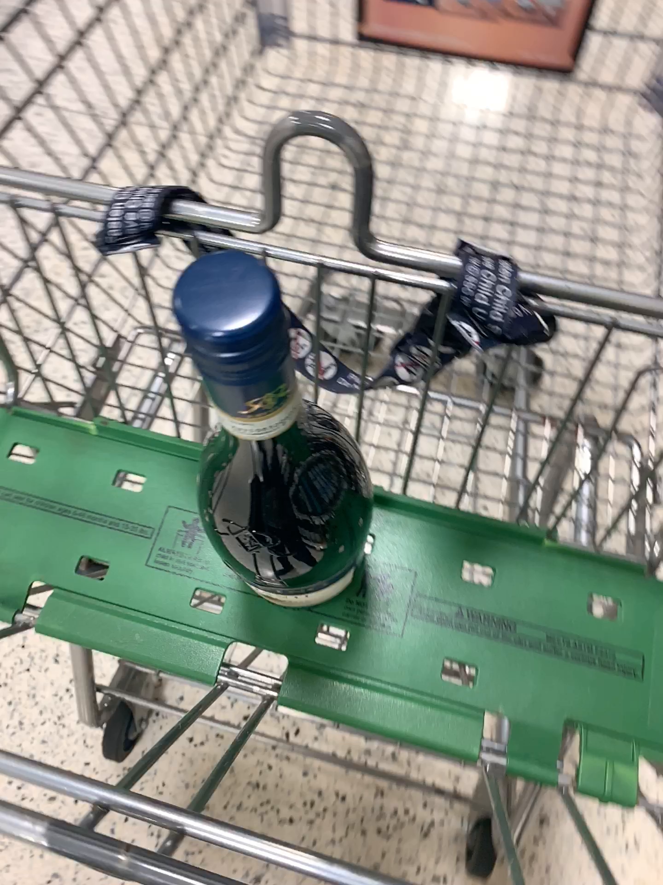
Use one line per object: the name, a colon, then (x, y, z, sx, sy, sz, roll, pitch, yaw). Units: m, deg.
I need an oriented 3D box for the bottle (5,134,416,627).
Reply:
bottle: (-0.026, 0.007, 0.314, 0.090, 0.268, 0.091, -1, 66, 2)
